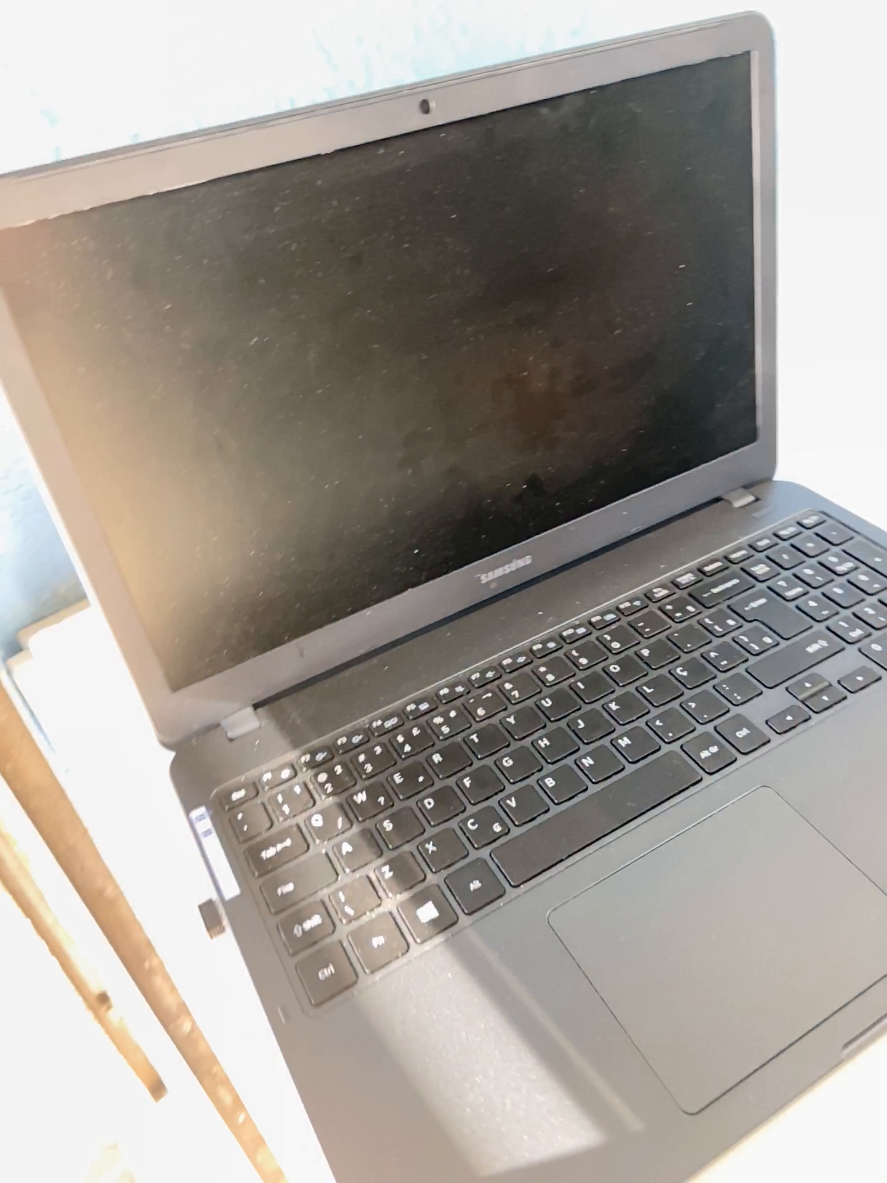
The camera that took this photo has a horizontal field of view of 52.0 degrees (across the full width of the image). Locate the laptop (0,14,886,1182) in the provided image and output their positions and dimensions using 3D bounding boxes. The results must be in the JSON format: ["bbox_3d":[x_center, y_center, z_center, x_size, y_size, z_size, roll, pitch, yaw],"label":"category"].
[{"bbox_3d":[0.072,-0.034,0.332,0.371,0.232,0.288,-24,41,-19],"label":"laptop"}]
